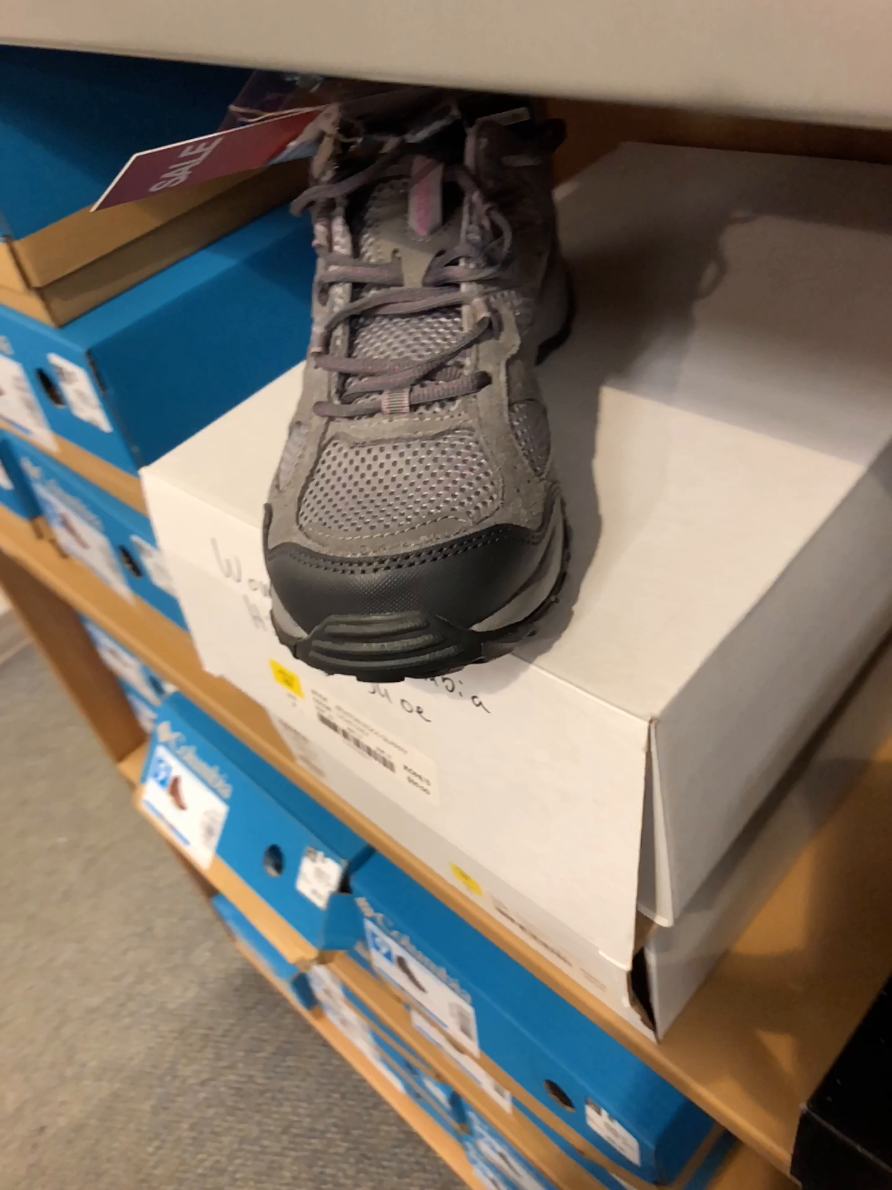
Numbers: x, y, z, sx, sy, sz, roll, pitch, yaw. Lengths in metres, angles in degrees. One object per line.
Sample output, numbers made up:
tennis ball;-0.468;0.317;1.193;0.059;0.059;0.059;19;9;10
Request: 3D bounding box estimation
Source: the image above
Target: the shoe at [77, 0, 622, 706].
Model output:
shoe;-0.001;-0.102;0.344;0.104;0.114;0.268;-1;44;14
